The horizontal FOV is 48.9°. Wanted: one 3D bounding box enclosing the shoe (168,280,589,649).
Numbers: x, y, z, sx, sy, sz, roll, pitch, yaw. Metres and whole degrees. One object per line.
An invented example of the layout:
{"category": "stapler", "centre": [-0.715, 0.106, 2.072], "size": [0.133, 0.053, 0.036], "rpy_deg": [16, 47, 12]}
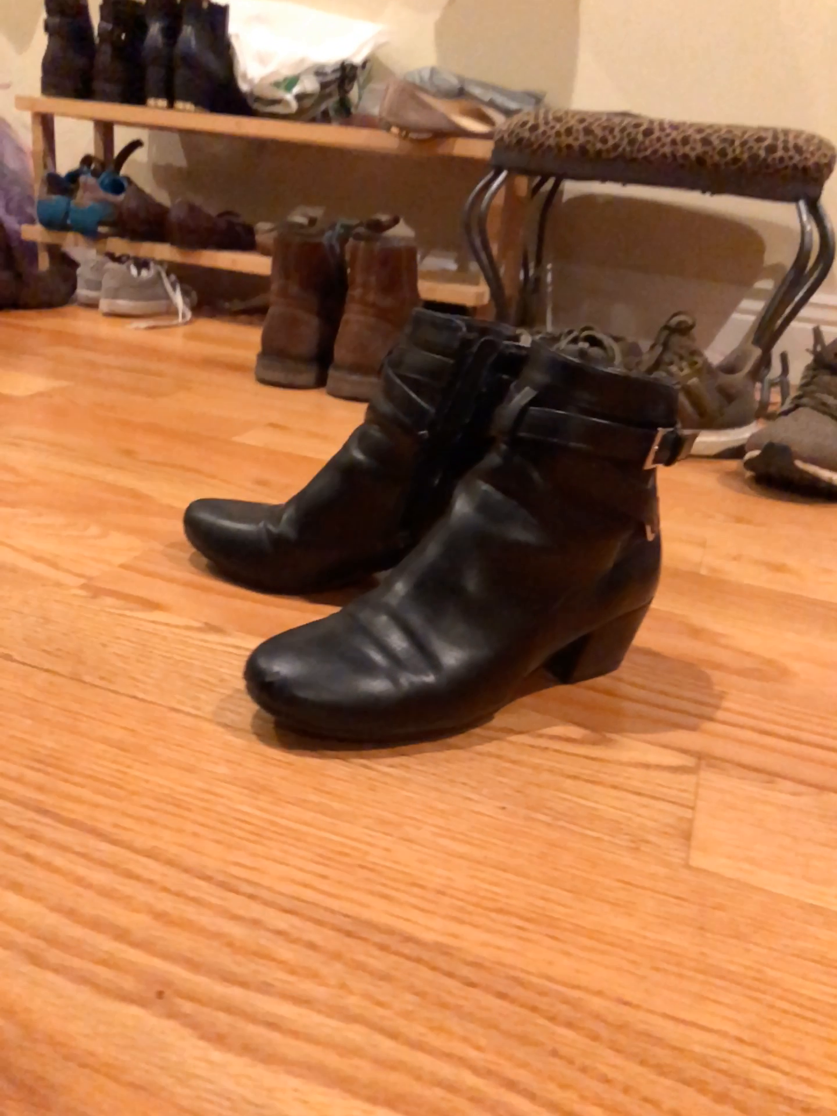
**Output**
{"category": "shoe", "centre": [-0.028, -0.065, 0.564], "size": [0.226, 0.172, 0.091], "rpy_deg": [12, 21, 14]}

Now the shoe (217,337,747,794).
{"category": "shoe", "centre": [0.029, -0.010, 0.448], "size": [0.226, 0.172, 0.090], "rpy_deg": [-7, 24, -31]}
